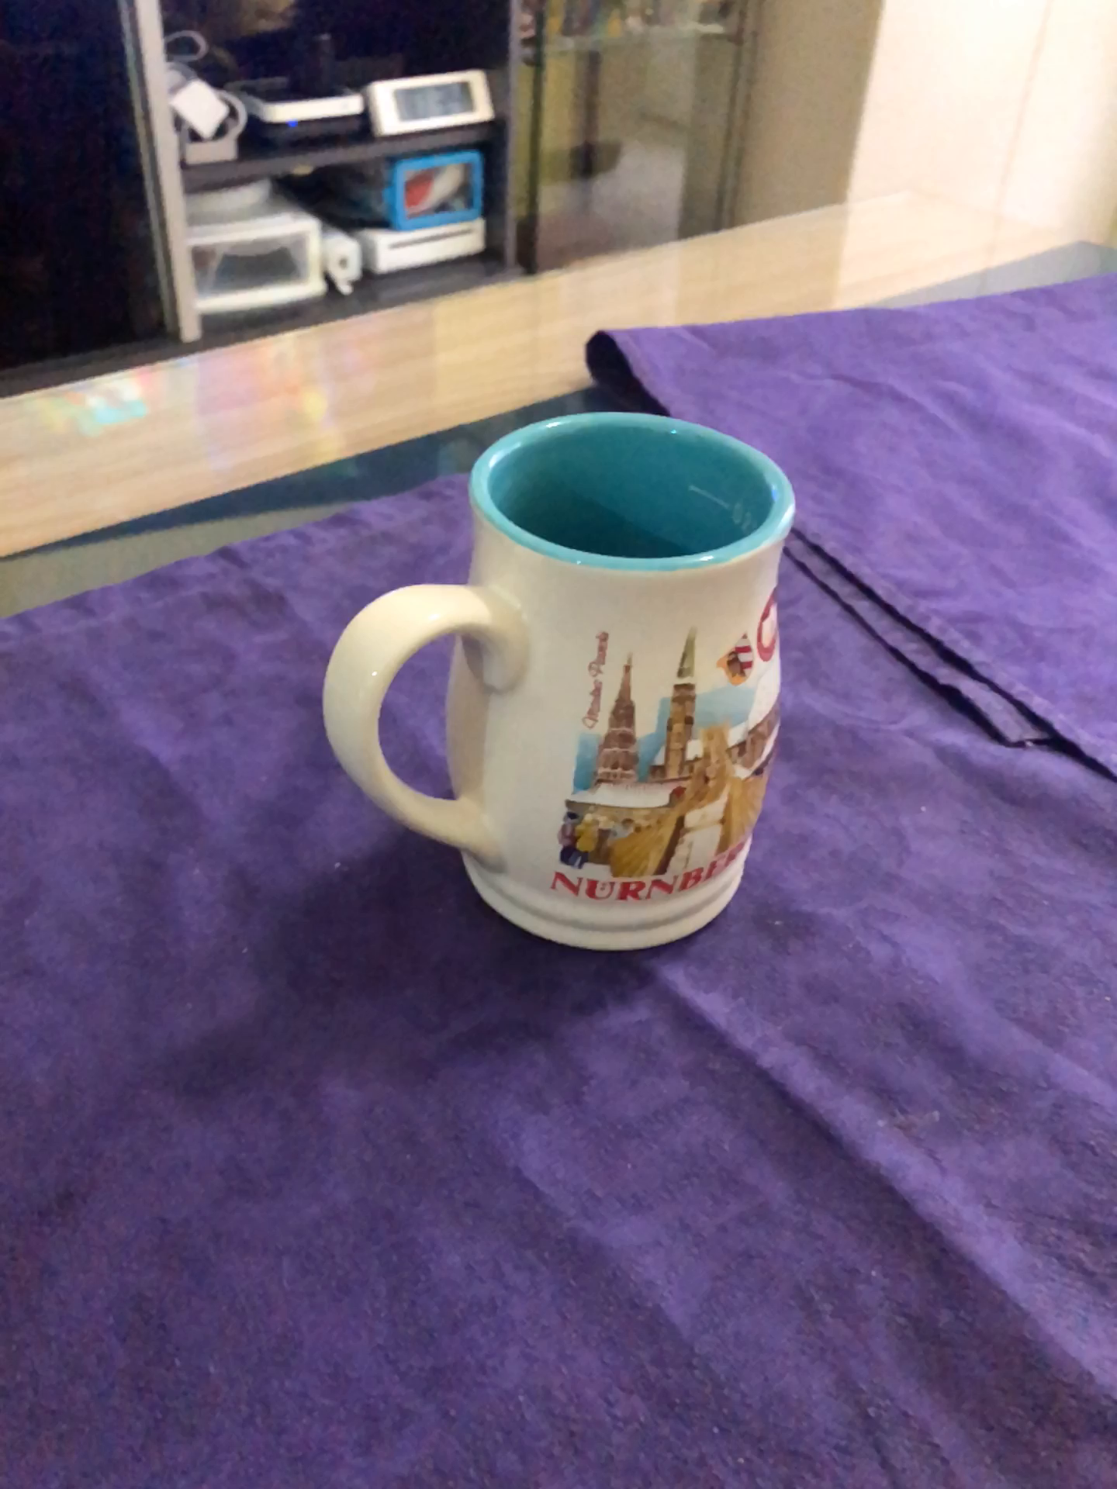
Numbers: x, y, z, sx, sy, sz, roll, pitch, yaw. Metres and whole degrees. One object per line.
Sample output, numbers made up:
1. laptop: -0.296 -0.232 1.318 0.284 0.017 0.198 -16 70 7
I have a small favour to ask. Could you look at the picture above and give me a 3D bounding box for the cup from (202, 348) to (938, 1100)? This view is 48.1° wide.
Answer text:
1. cup: 0.001 -0.010 0.279 0.120 0.109 0.080 -22 45 -28
